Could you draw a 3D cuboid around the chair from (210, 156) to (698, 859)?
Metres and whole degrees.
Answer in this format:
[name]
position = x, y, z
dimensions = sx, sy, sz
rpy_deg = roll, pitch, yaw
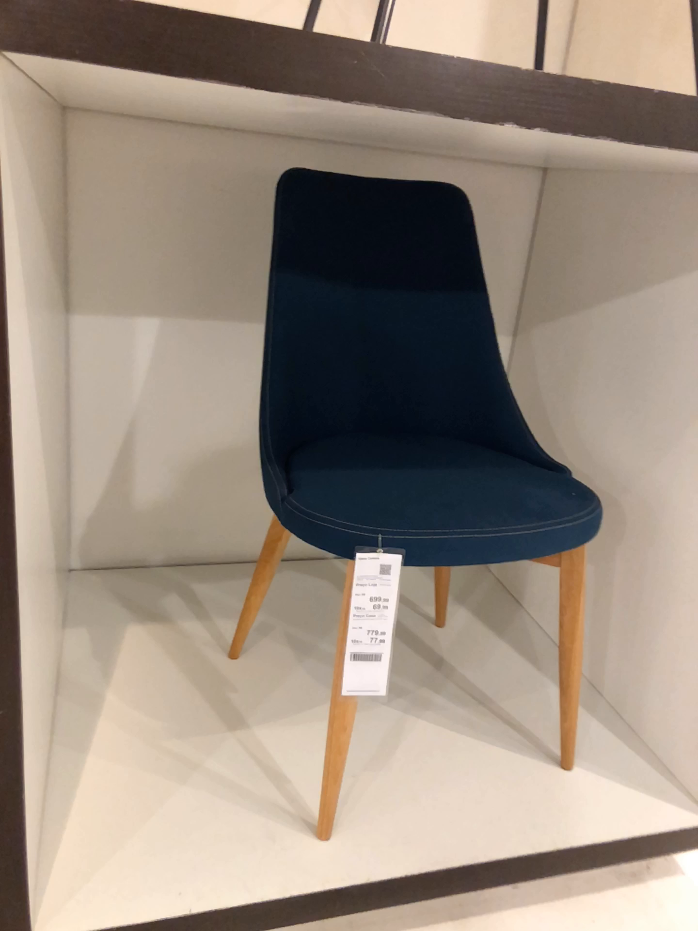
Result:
[chair]
position = 0.115, 0.011, 1.200
dimensions = 0.521, 0.864, 0.522
rpy_deg = -3, 22, -23
